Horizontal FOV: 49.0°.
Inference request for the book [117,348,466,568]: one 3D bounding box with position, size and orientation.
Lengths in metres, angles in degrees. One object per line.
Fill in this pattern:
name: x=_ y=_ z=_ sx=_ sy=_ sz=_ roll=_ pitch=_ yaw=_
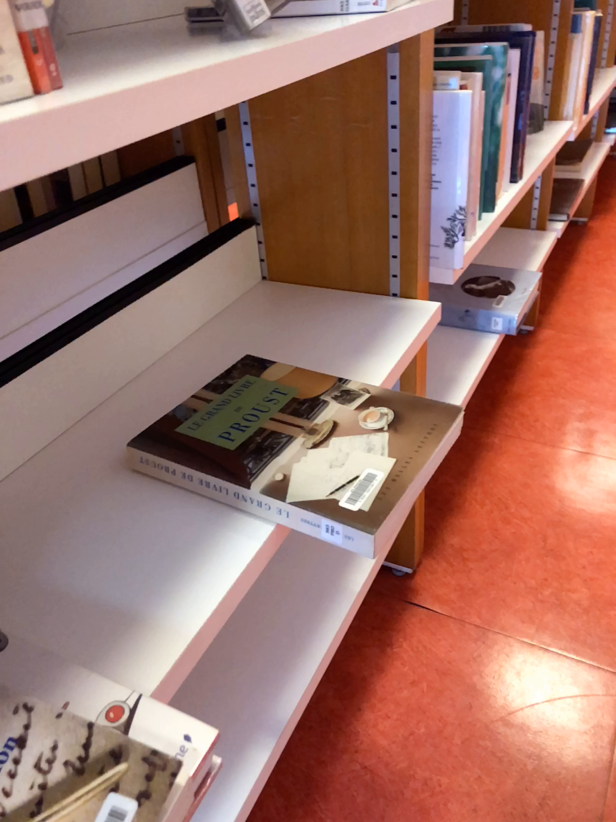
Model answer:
book: x=-0.012 y=0.023 z=0.595 sx=0.245 sy=0.030 sz=0.181 roll=16 pitch=39 yaw=27
